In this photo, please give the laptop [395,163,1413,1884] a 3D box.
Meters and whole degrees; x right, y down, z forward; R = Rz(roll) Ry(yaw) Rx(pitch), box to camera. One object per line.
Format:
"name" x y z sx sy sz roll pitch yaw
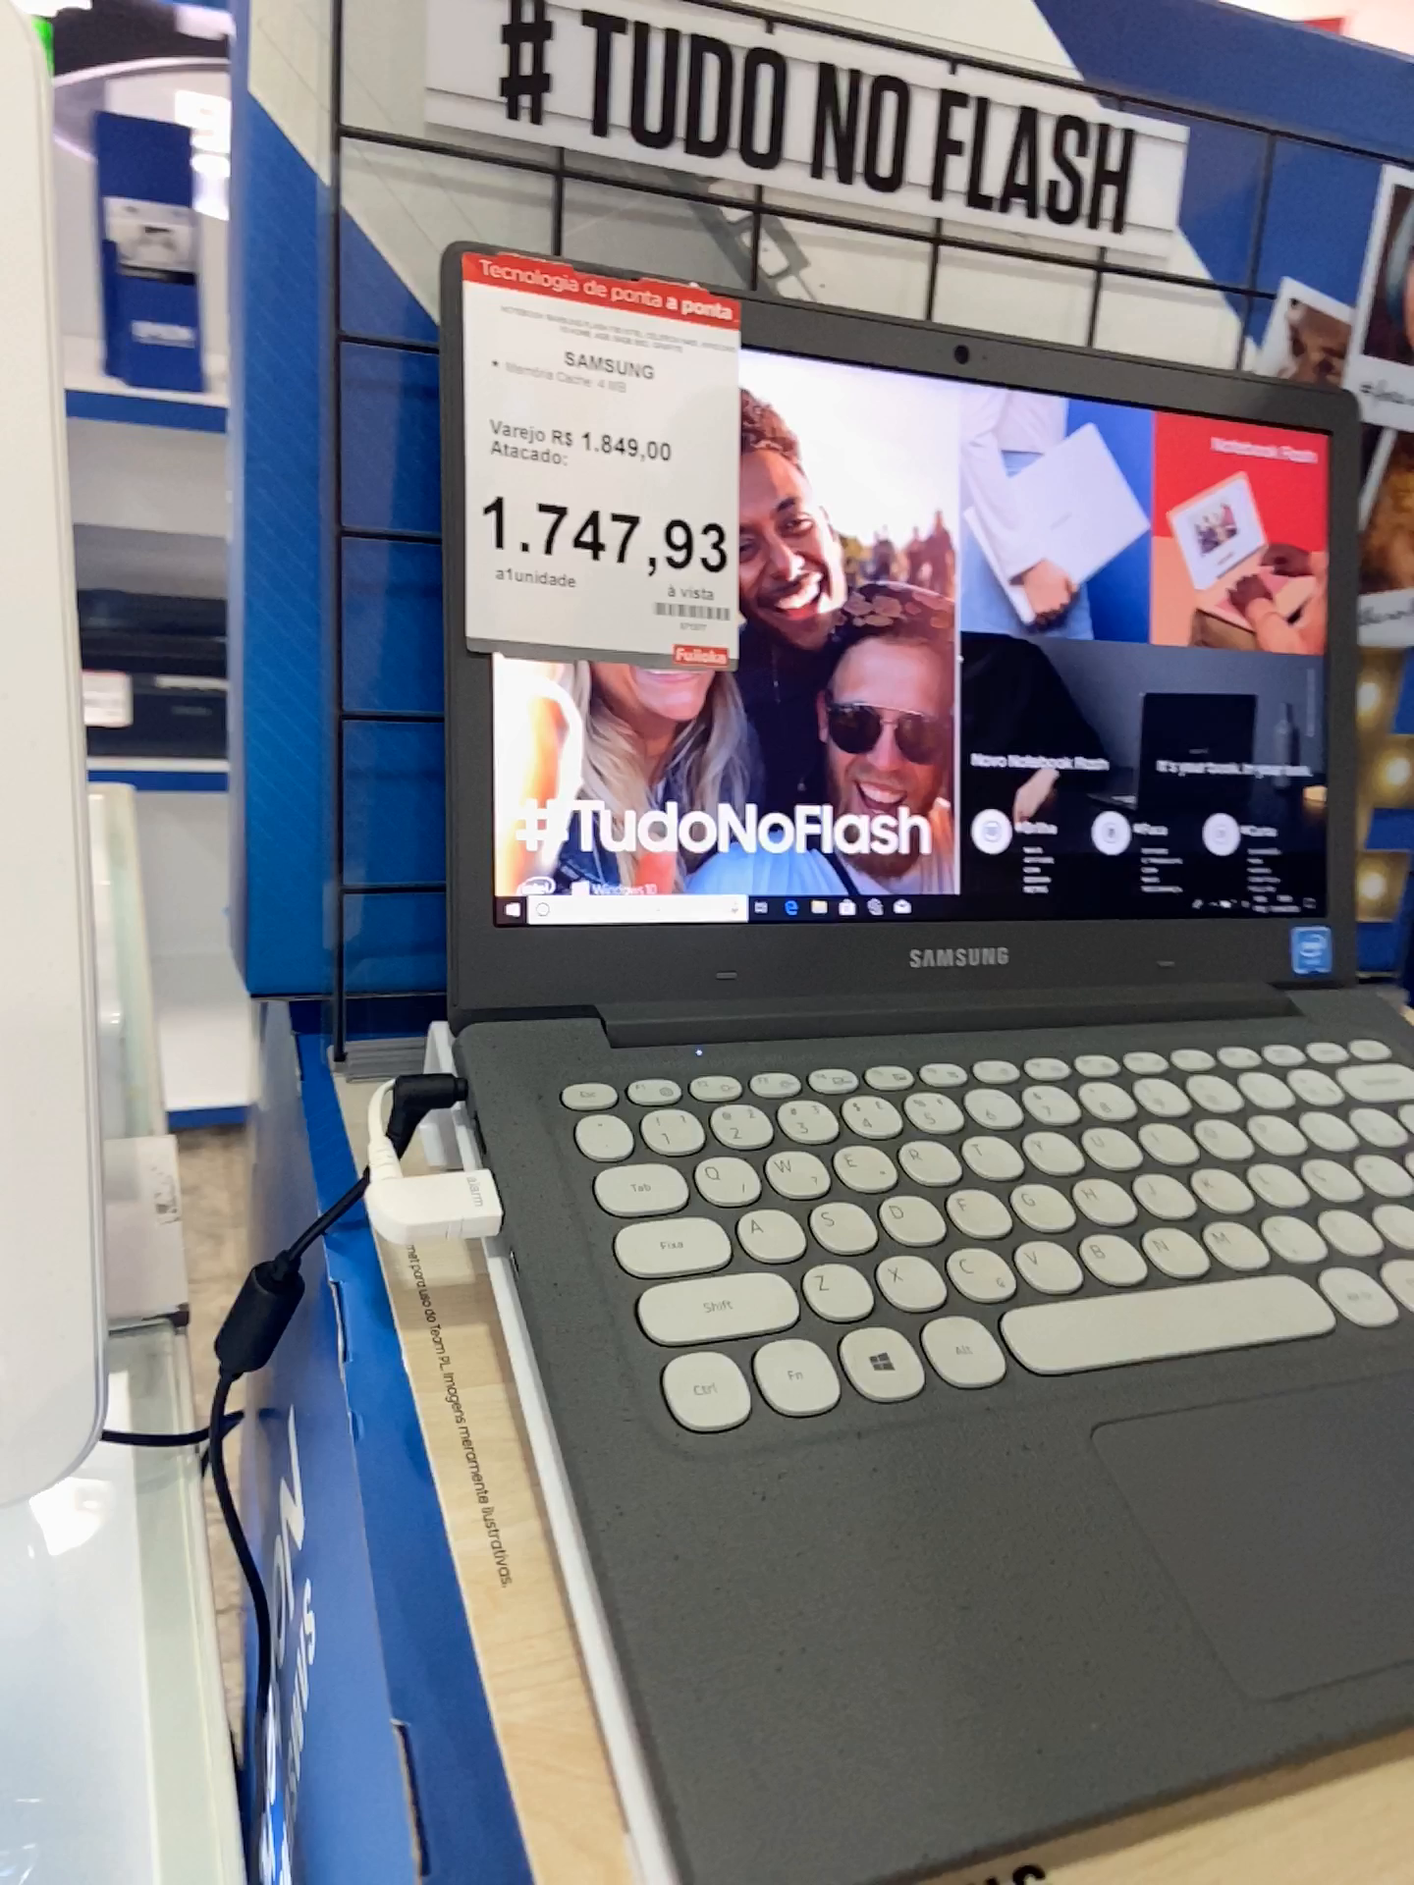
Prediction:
"laptop" 0.111 -0.038 0.375 0.322 0.181 0.346 -1 34 -22
